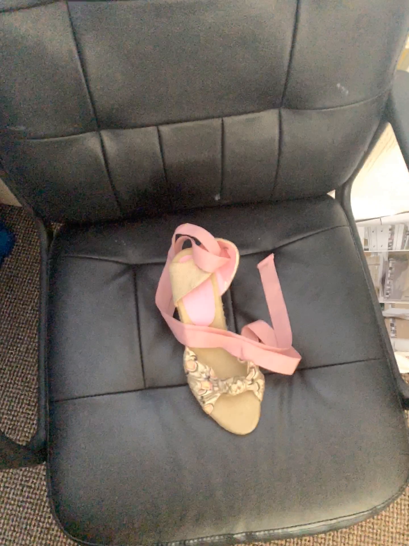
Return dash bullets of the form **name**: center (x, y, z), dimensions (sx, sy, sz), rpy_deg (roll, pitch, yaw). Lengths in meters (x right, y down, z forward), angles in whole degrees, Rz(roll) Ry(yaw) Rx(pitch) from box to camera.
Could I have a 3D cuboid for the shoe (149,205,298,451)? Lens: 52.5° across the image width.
- **shoe**: center (0.013, 0.072, 0.540), dimensions (0.100, 0.139, 0.271), rpy_deg (-14, 70, -6)
